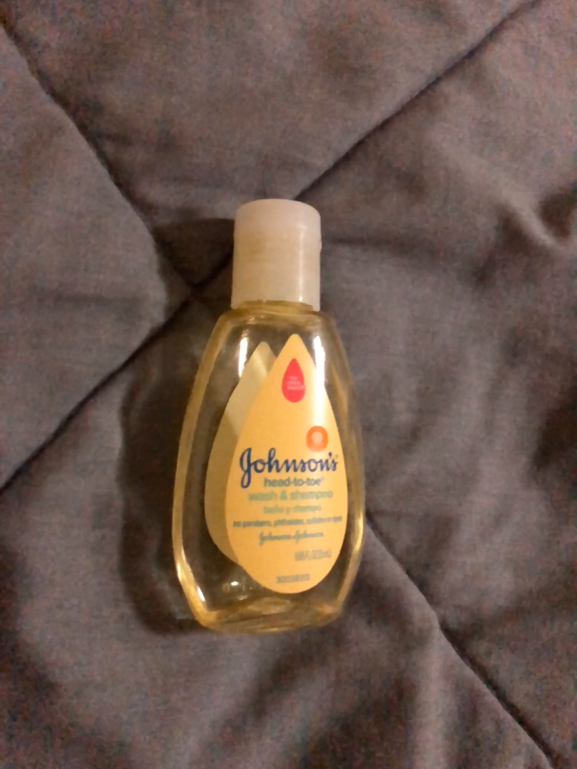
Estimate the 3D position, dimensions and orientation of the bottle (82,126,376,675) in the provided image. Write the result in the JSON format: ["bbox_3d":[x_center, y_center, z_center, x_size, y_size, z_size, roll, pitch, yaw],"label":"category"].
[{"bbox_3d":[-0.011,0.002,0.125,0.050,0.020,0.090,2,83,-21],"label":"bottle"}]
